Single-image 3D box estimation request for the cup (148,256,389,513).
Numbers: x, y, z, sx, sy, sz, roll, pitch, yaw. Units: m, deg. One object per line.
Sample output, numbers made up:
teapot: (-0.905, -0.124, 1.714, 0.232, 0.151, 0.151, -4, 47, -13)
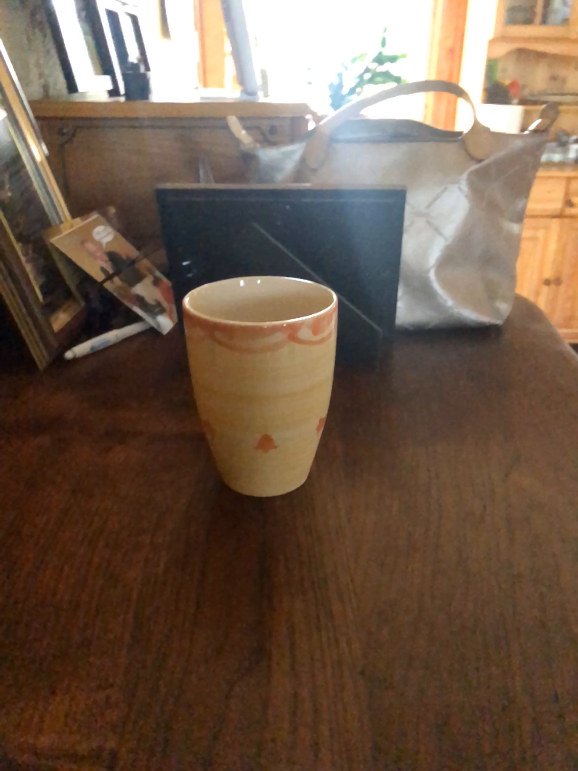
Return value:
cup: (-0.018, -0.010, 0.385, 0.100, 0.099, 0.120, -10, 28, -21)
